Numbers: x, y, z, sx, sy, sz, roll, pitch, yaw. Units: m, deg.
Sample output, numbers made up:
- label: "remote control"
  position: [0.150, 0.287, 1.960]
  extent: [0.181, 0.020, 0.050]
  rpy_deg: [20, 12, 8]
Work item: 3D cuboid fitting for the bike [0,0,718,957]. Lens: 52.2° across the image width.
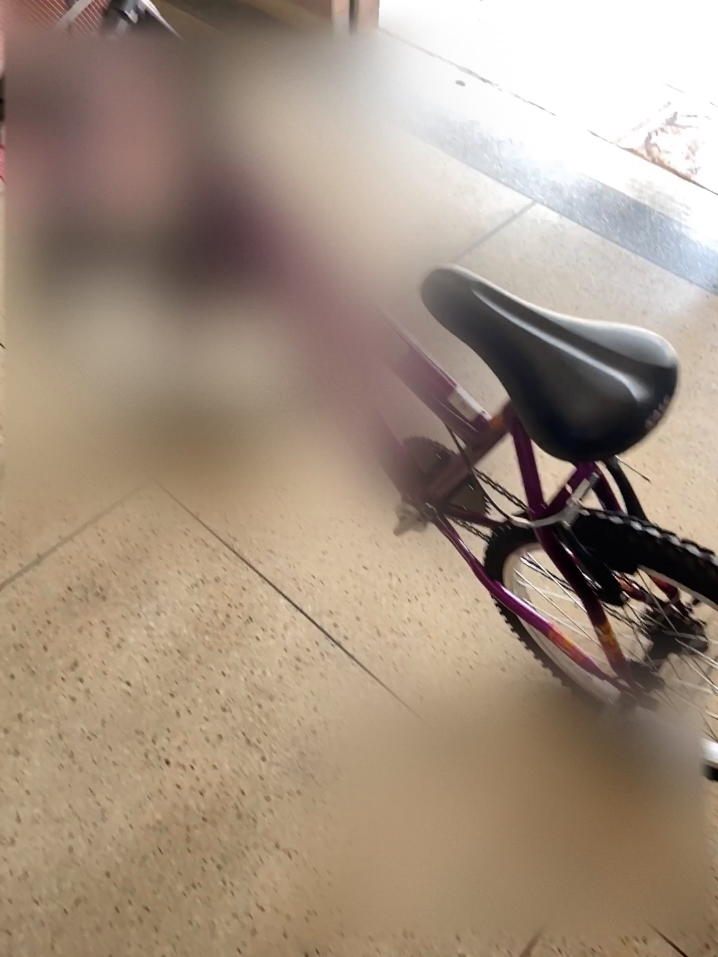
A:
- label: "bike"
  position: [0.019, -0.049, 0.841]
  extent: [1.262, 0.935, 0.617]
  rpy_deg: [31, 58, 18]
